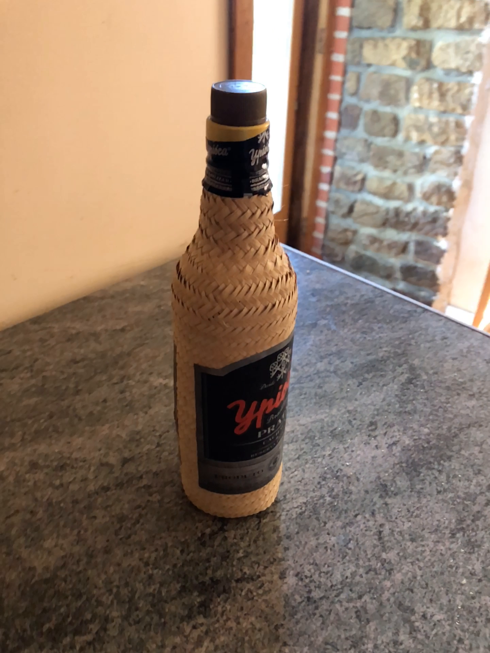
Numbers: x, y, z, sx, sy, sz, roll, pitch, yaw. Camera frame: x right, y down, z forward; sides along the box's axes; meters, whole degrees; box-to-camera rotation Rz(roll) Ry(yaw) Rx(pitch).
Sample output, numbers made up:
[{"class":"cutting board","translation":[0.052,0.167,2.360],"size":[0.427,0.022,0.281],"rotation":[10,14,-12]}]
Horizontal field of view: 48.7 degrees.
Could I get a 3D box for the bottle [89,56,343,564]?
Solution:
[{"class":"bottle","translation":[-0.016,0.001,0.332],"size":[0.080,0.288,0.091],"rotation":[27,39,35]}]
